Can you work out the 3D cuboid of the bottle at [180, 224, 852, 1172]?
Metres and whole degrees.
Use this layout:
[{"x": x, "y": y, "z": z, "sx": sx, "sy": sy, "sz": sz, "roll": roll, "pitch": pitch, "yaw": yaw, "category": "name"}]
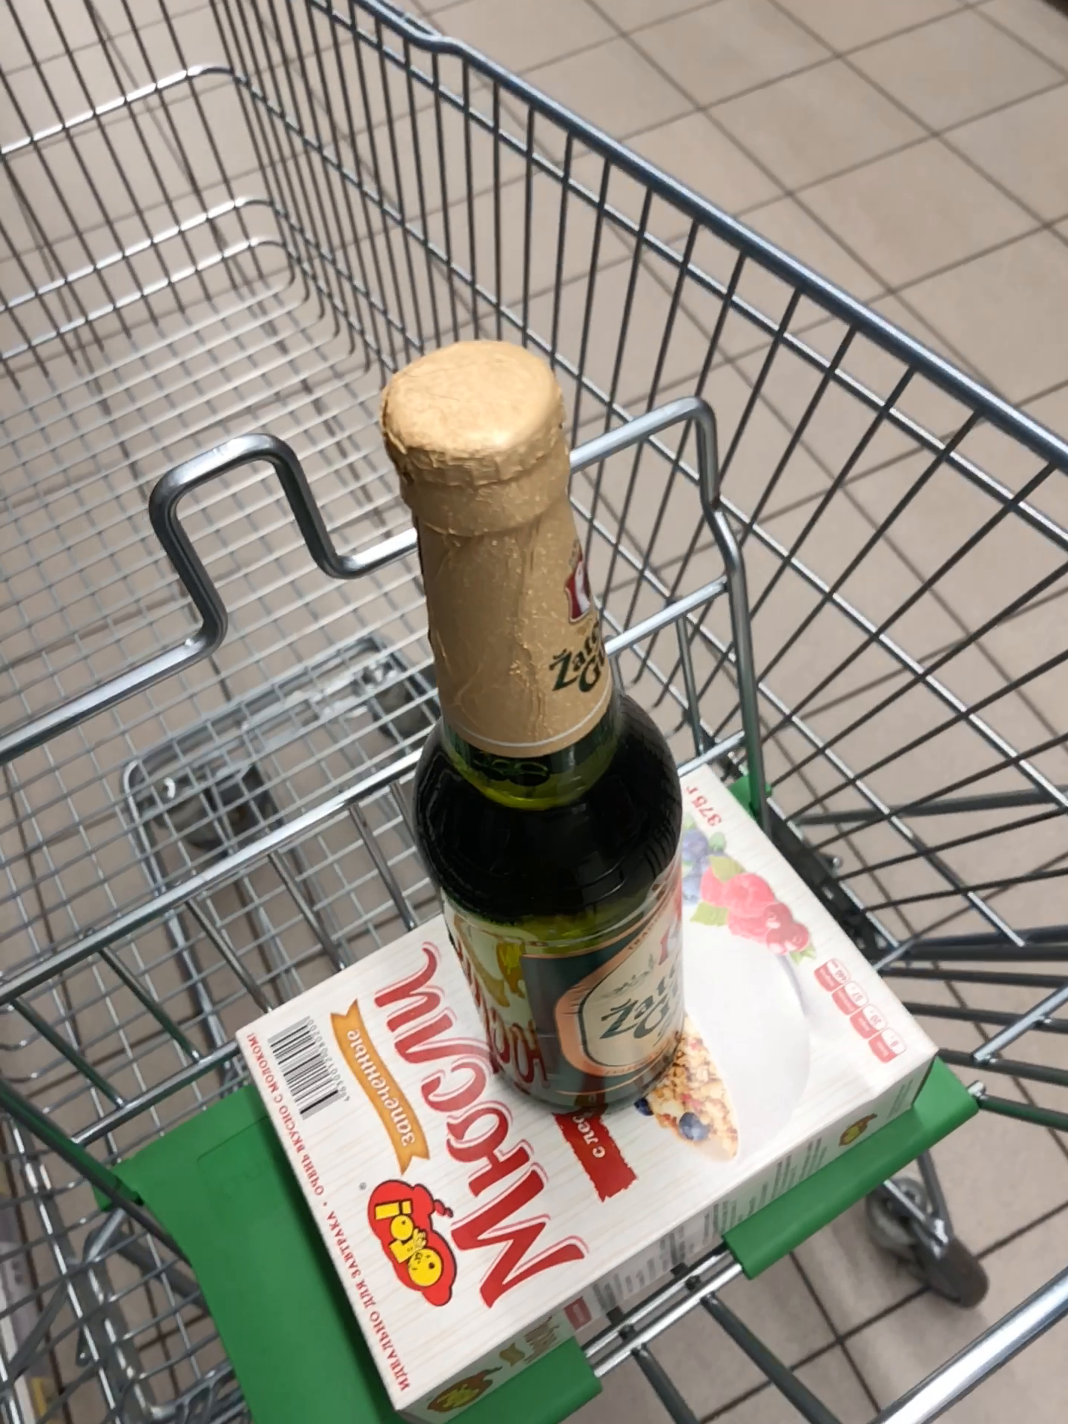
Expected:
[{"x": 0.009, "y": 0.030, "z": 0.290, "sx": 0.070, "sy": 0.269, "sz": 0.080, "roll": 24, "pitch": 63, "yaw": 19, "category": "bottle"}]
